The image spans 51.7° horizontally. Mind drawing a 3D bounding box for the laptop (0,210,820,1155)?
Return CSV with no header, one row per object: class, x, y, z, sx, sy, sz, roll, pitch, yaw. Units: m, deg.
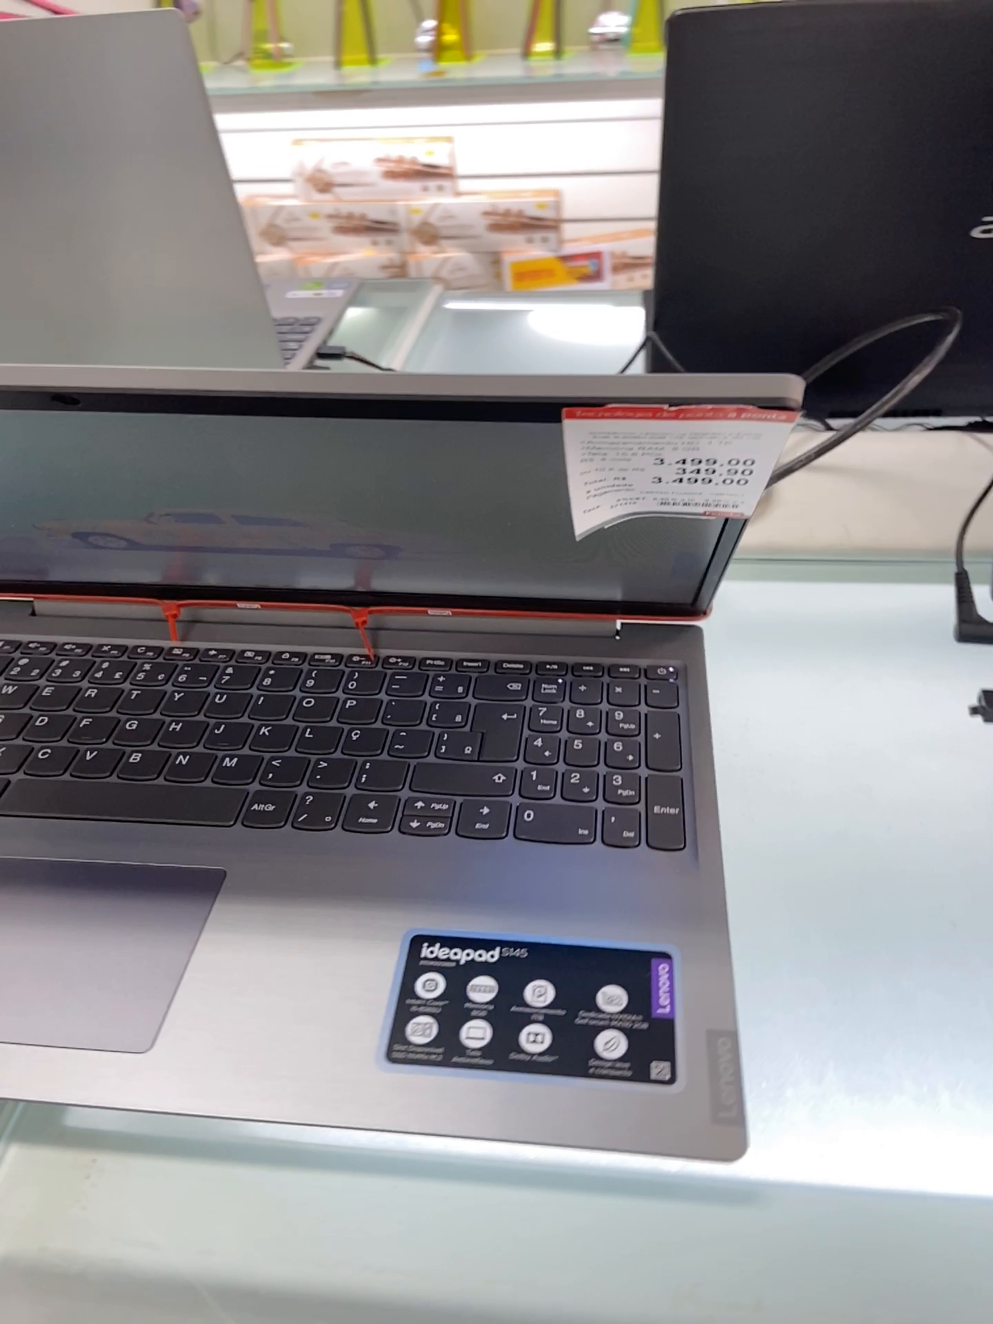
laptop,-0.105,-0.021,0.341,0.359,0.175,0.246,2,37,7
